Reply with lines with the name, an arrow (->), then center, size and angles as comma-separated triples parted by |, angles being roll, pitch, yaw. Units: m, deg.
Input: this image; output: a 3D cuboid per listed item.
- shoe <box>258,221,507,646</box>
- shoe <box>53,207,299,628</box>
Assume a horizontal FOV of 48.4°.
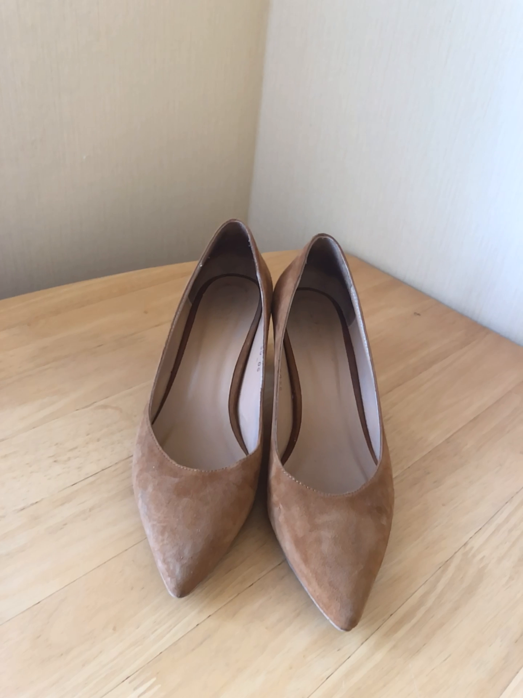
shoe -> 0.048, 0.027, 0.369 | 0.089, 0.110, 0.261 | 5, 35, -4
shoe -> -0.033, 0.017, 0.361 | 0.089, 0.110, 0.251 | 8, 35, 0
